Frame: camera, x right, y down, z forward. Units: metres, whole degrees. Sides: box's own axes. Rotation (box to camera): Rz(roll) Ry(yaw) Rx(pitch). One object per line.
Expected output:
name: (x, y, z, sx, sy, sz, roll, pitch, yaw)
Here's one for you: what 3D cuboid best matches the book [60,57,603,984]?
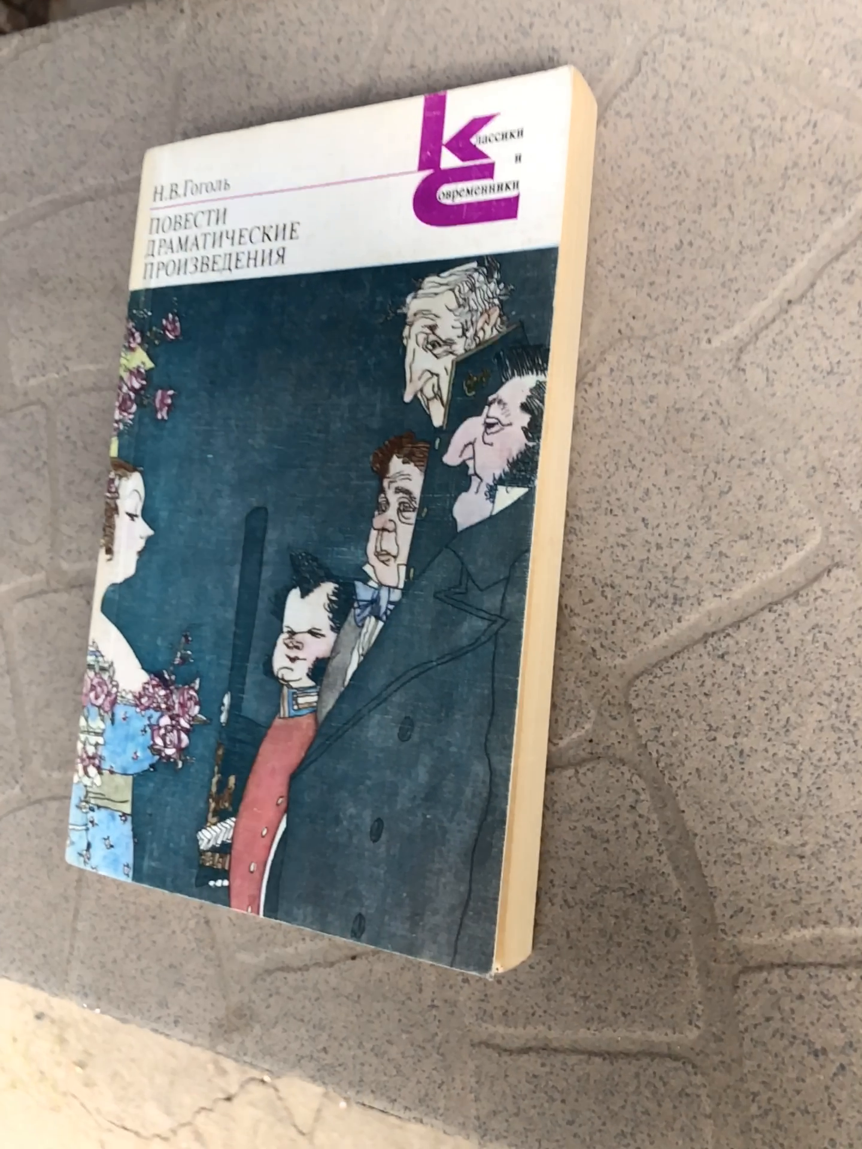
book: (-0.029, -0.016, 0.237, 0.124, 0.021, 0.193, 4, 87, 28)
